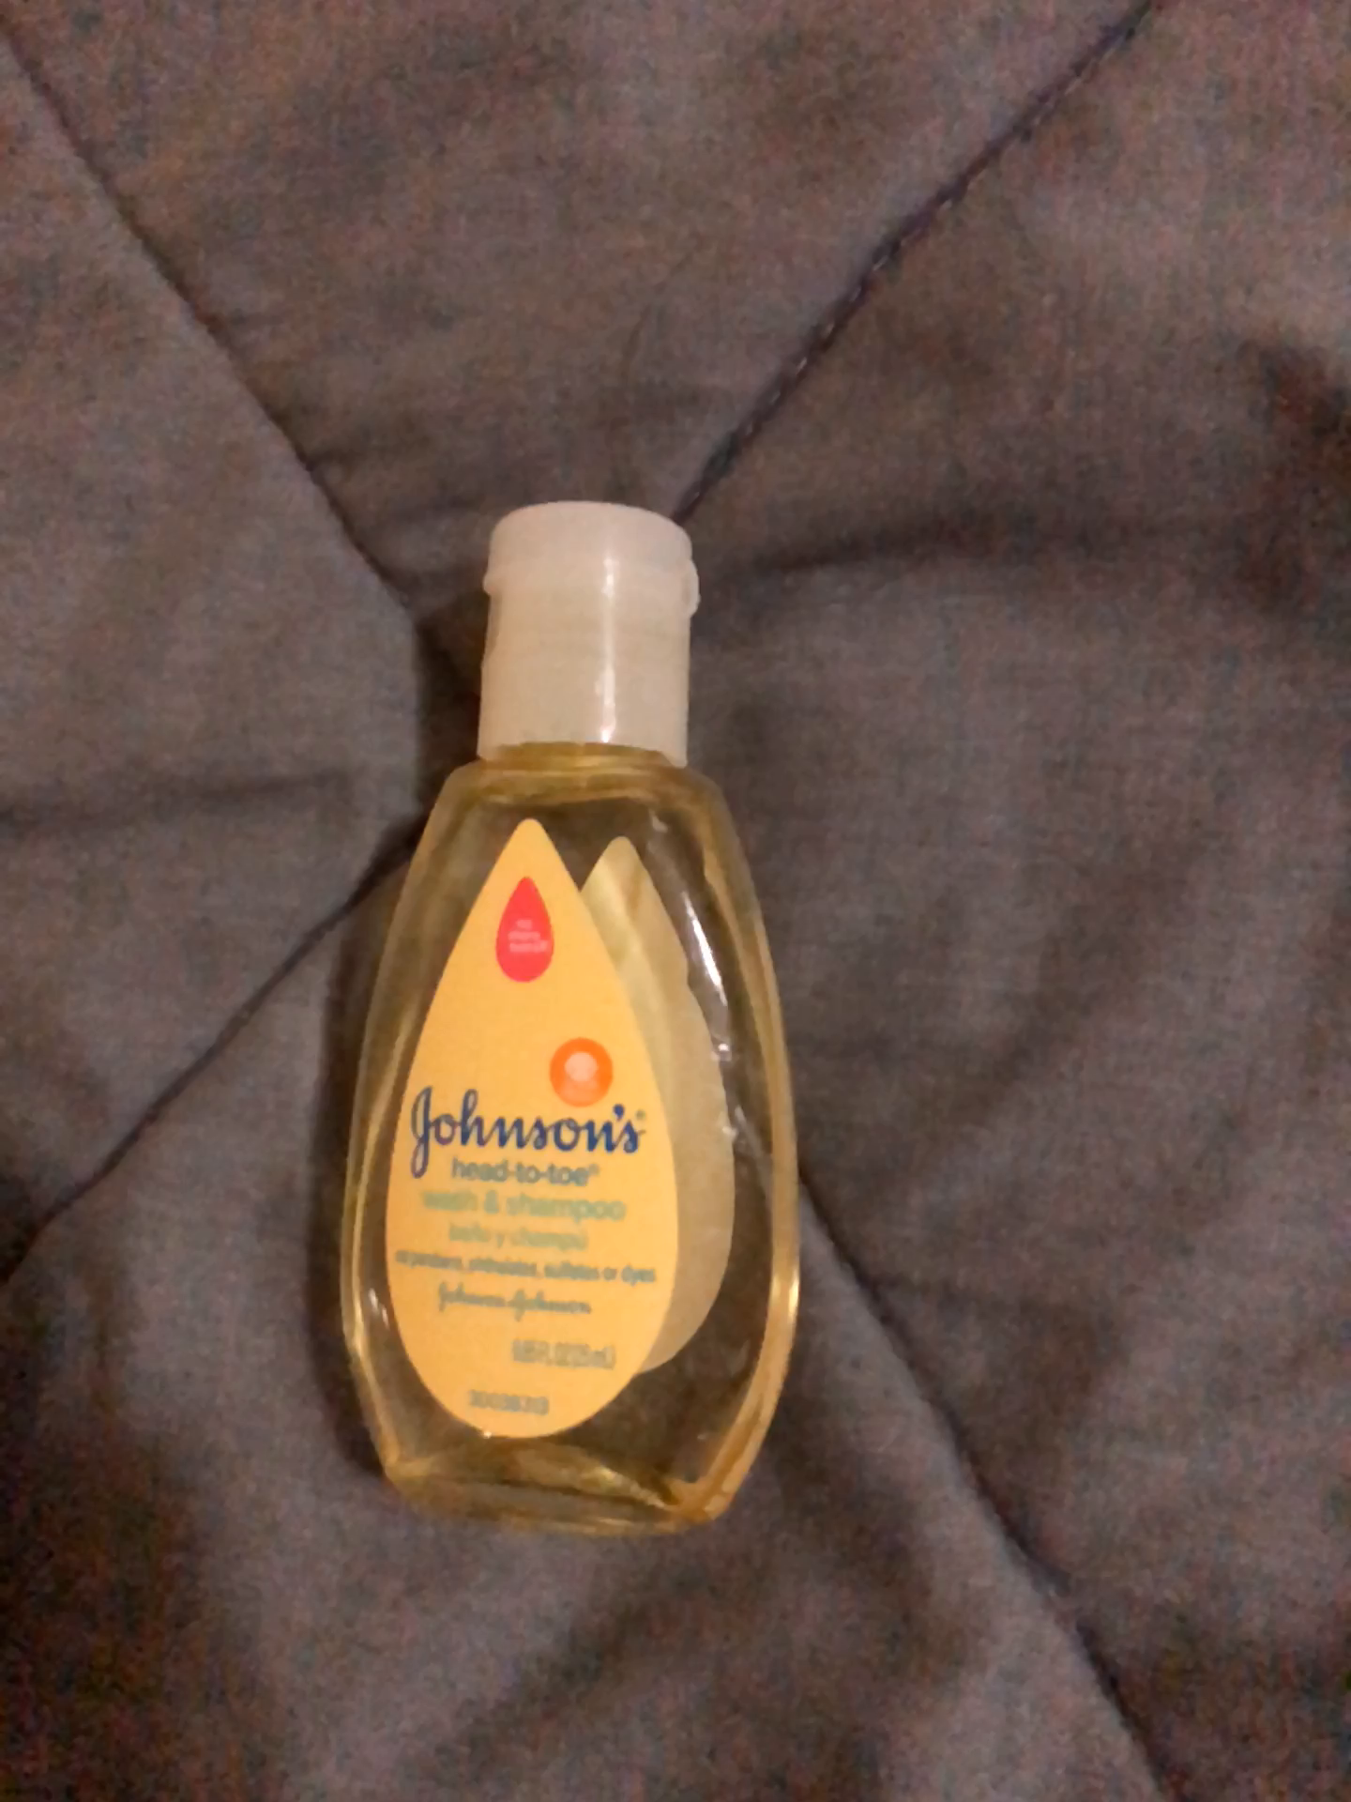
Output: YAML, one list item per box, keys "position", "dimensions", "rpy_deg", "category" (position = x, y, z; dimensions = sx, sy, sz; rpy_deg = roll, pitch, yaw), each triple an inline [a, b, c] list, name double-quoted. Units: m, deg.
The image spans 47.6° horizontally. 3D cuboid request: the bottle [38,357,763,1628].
- position: [-0.021, 0.006, 0.126]
  dimensions: [0.050, 0.020, 0.090]
  rpy_deg: [-1, 82, 21]
  category: "bottle"
